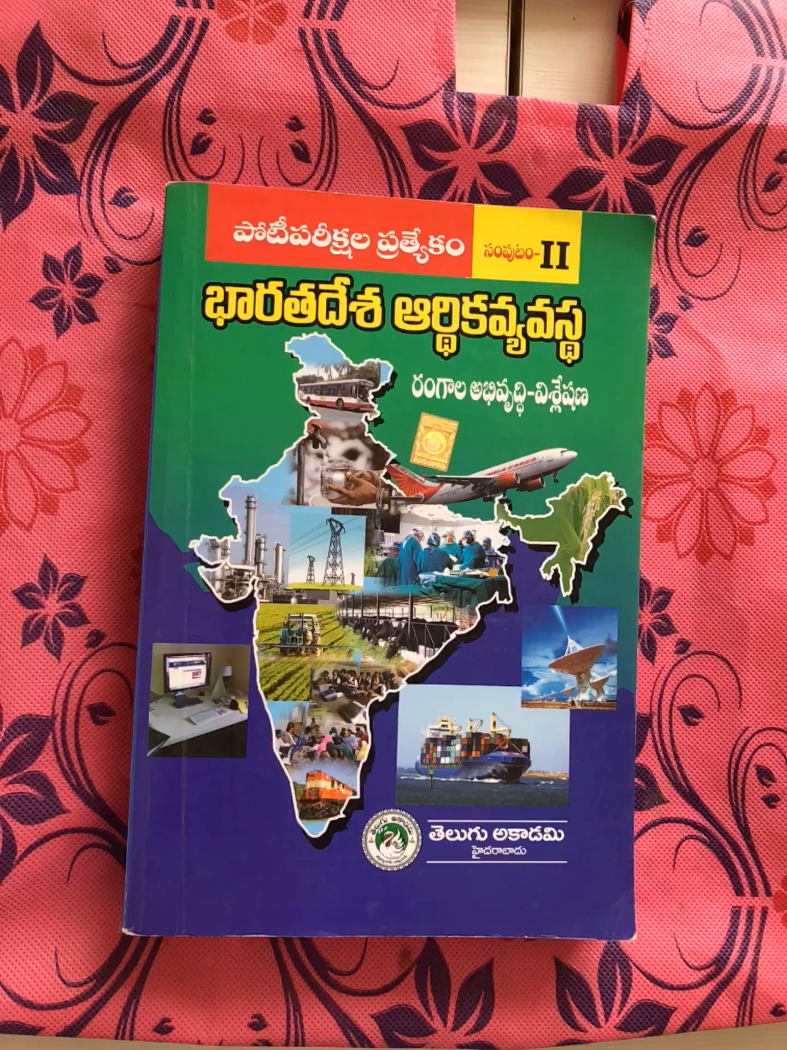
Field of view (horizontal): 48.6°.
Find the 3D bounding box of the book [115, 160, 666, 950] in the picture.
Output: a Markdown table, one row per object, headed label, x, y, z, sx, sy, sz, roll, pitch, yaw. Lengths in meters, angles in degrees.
| label | x | y | z | sx | sy | sz | roll | pitch | yaw |
| --- | --- | --- | --- | --- | --- | --- | --- | --- | --- |
| book | 0.002 | 0.013 | 0.338 | 0.190 | 0.040 | 0.280 | 3 | 87 | -6 |
